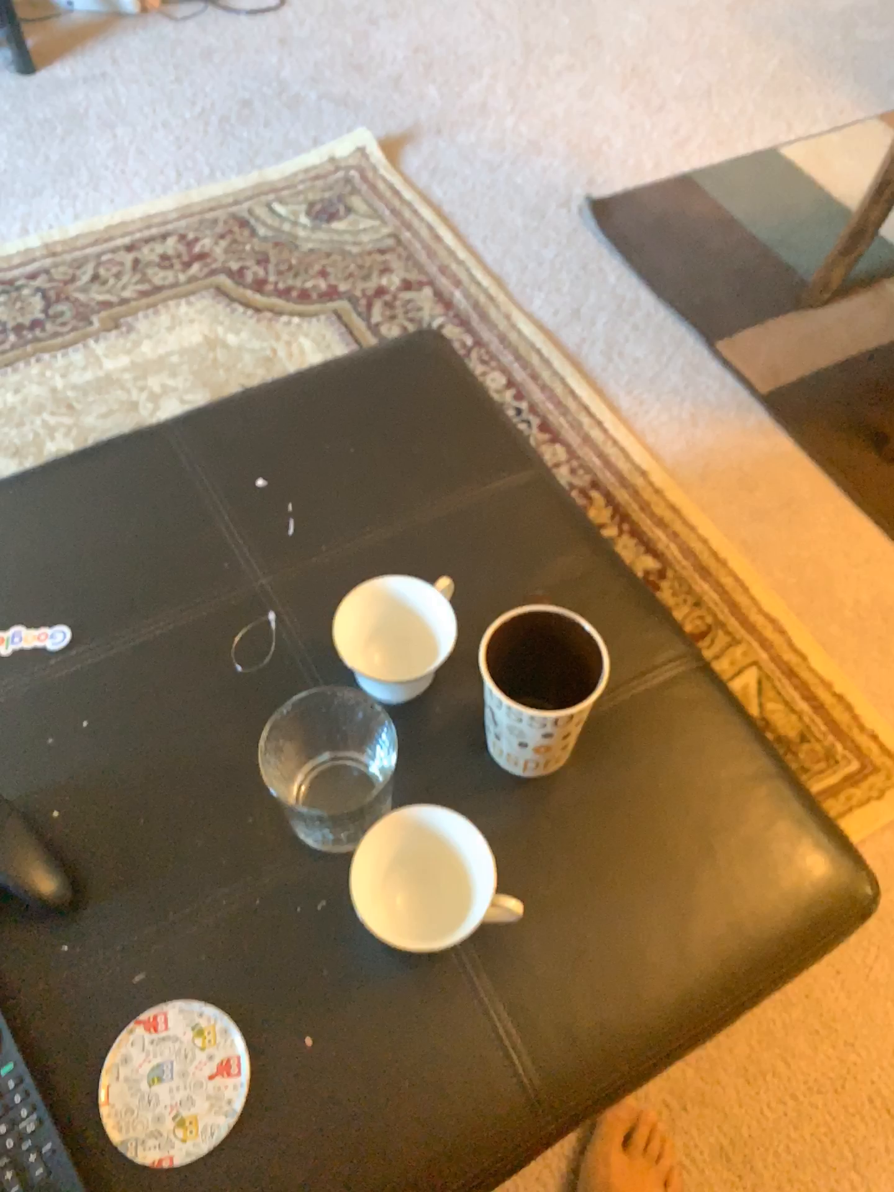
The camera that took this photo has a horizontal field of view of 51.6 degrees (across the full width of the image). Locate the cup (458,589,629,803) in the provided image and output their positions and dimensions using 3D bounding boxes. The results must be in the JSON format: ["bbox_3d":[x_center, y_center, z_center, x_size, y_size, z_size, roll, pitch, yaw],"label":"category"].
[{"bbox_3d":[0.067,0.073,0.661,0.100,0.110,0.100,1,57,-2],"label":"cup"}]

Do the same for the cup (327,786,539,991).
[{"bbox_3d":[-0.007,0.192,0.607,0.120,0.060,0.100,8,57,3],"label":"cup"}]

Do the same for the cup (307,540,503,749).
[{"bbox_3d":[-0.031,0.035,0.699,0.090,0.070,0.110,39,64,20],"label":"cup"}]

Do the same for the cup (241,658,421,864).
[{"bbox_3d":[-0.076,0.119,0.658,0.100,0.100,0.100,1,57,-2],"label":"cup"}]
